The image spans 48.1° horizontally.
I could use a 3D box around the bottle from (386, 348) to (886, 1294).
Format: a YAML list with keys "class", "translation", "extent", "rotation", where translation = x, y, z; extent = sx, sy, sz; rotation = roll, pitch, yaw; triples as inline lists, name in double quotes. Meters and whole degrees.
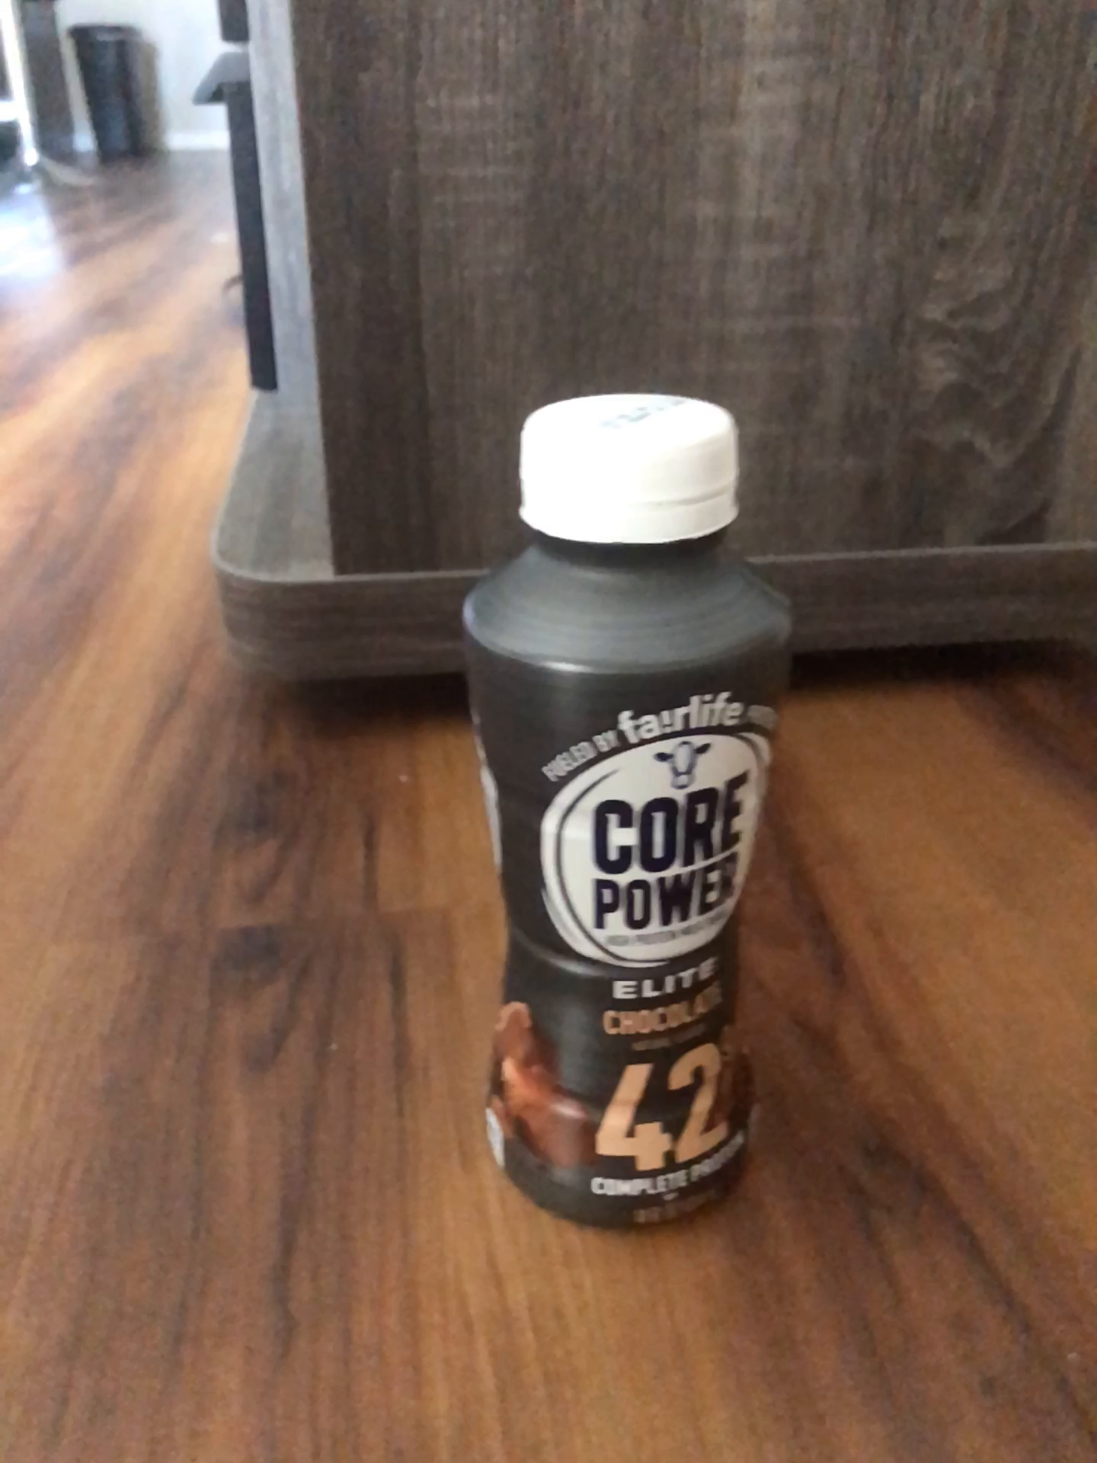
- class: "bottle"
  translation: [0.021, 0.019, 0.269]
  extent: [0.070, 0.184, 0.070]
  rotation: [-1, 27, 1]
